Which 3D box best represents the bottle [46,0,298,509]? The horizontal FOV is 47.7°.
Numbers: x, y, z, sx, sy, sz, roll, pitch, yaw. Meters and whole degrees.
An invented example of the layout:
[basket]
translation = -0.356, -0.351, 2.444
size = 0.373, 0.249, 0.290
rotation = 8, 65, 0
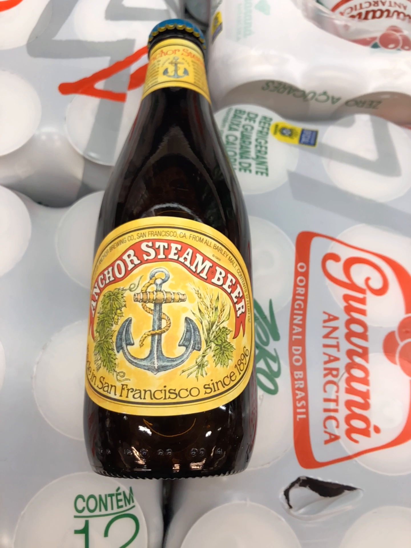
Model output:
[bottle]
translation = -0.013, -0.034, 0.188
size = 0.070, 0.060, 0.220
rotation = 0, 74, -4
